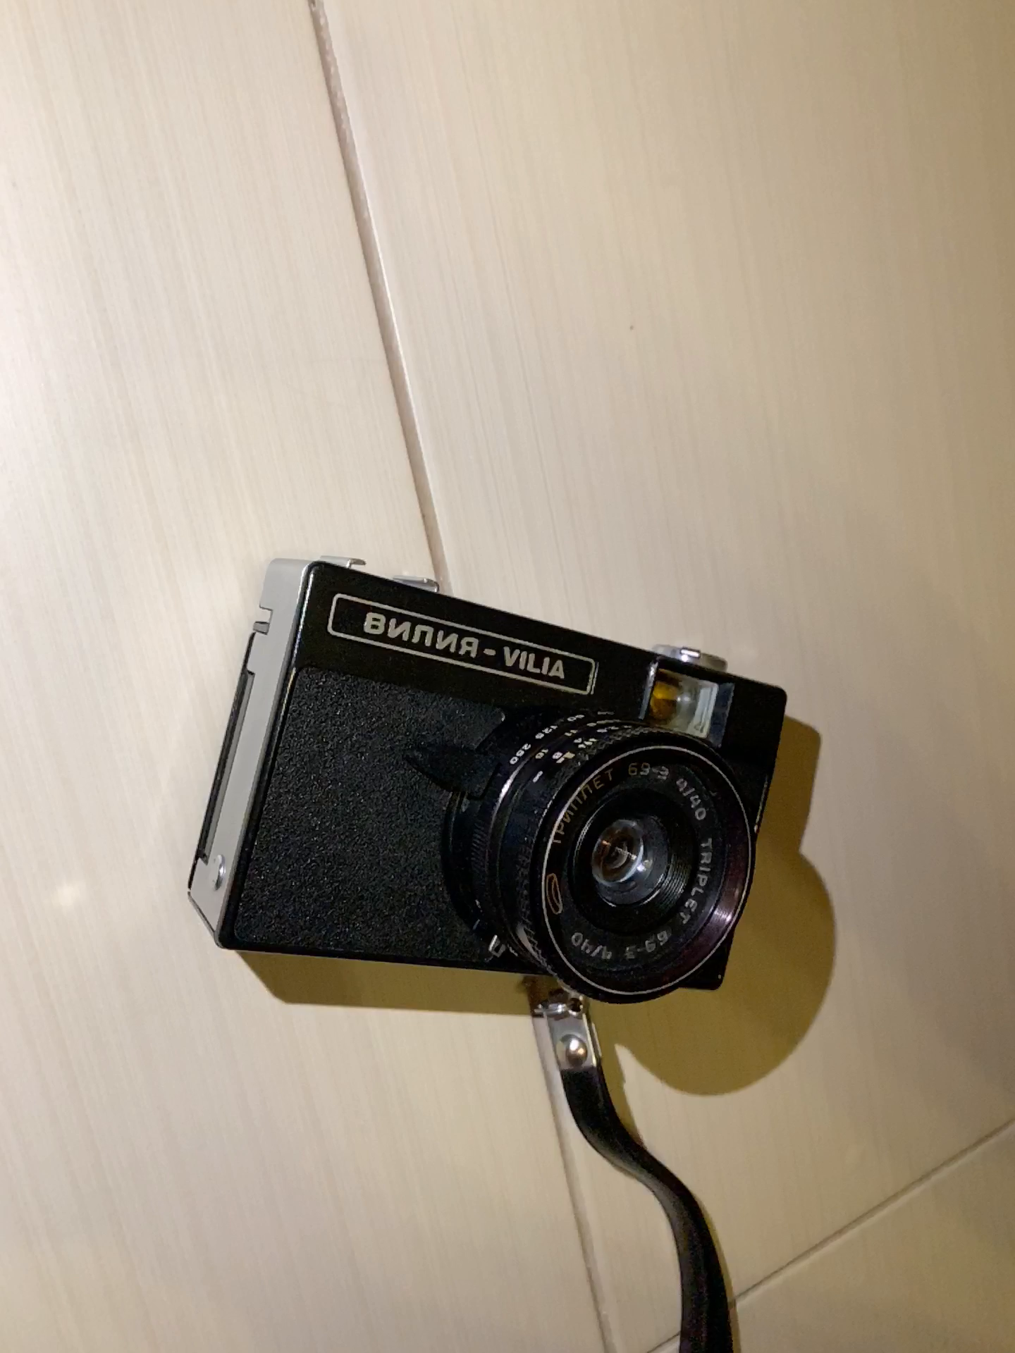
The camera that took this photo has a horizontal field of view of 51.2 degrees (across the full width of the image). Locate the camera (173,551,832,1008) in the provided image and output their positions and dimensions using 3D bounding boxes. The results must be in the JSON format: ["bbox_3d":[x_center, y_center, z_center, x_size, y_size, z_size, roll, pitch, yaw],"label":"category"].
[{"bbox_3d":[0.002,0.024,0.230,0.125,0.041,0.072,14,91,-26],"label":"camera"}]
